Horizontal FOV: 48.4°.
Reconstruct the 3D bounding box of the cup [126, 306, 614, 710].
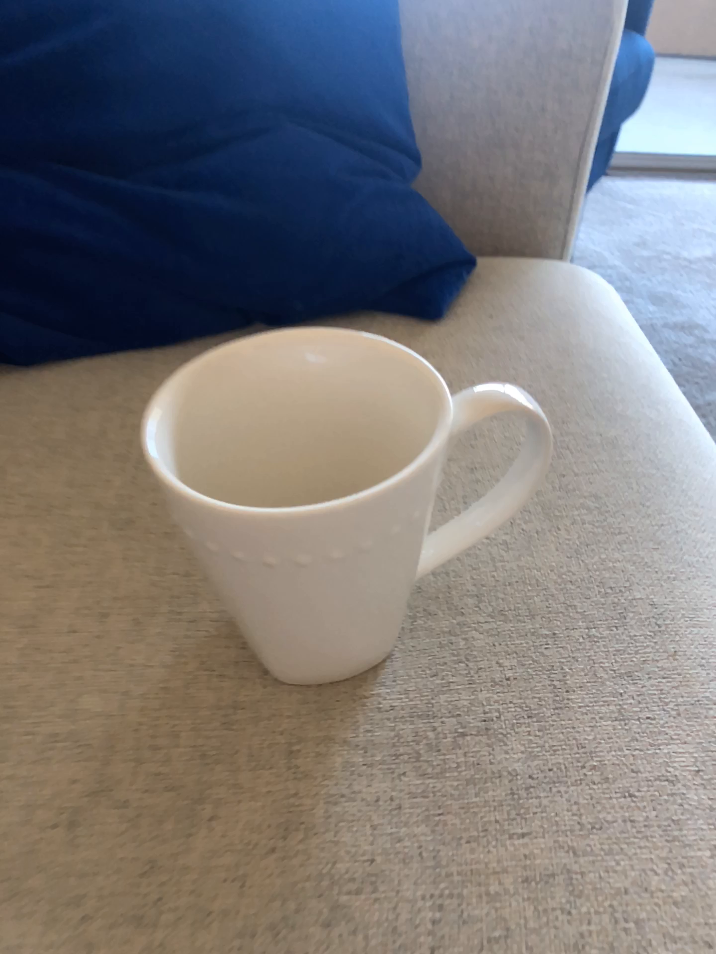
[{"bbox_3d":[-0.003,0.006,0.276,0.130,0.090,0.100,-3,39,-7],"label":"cup"}]
